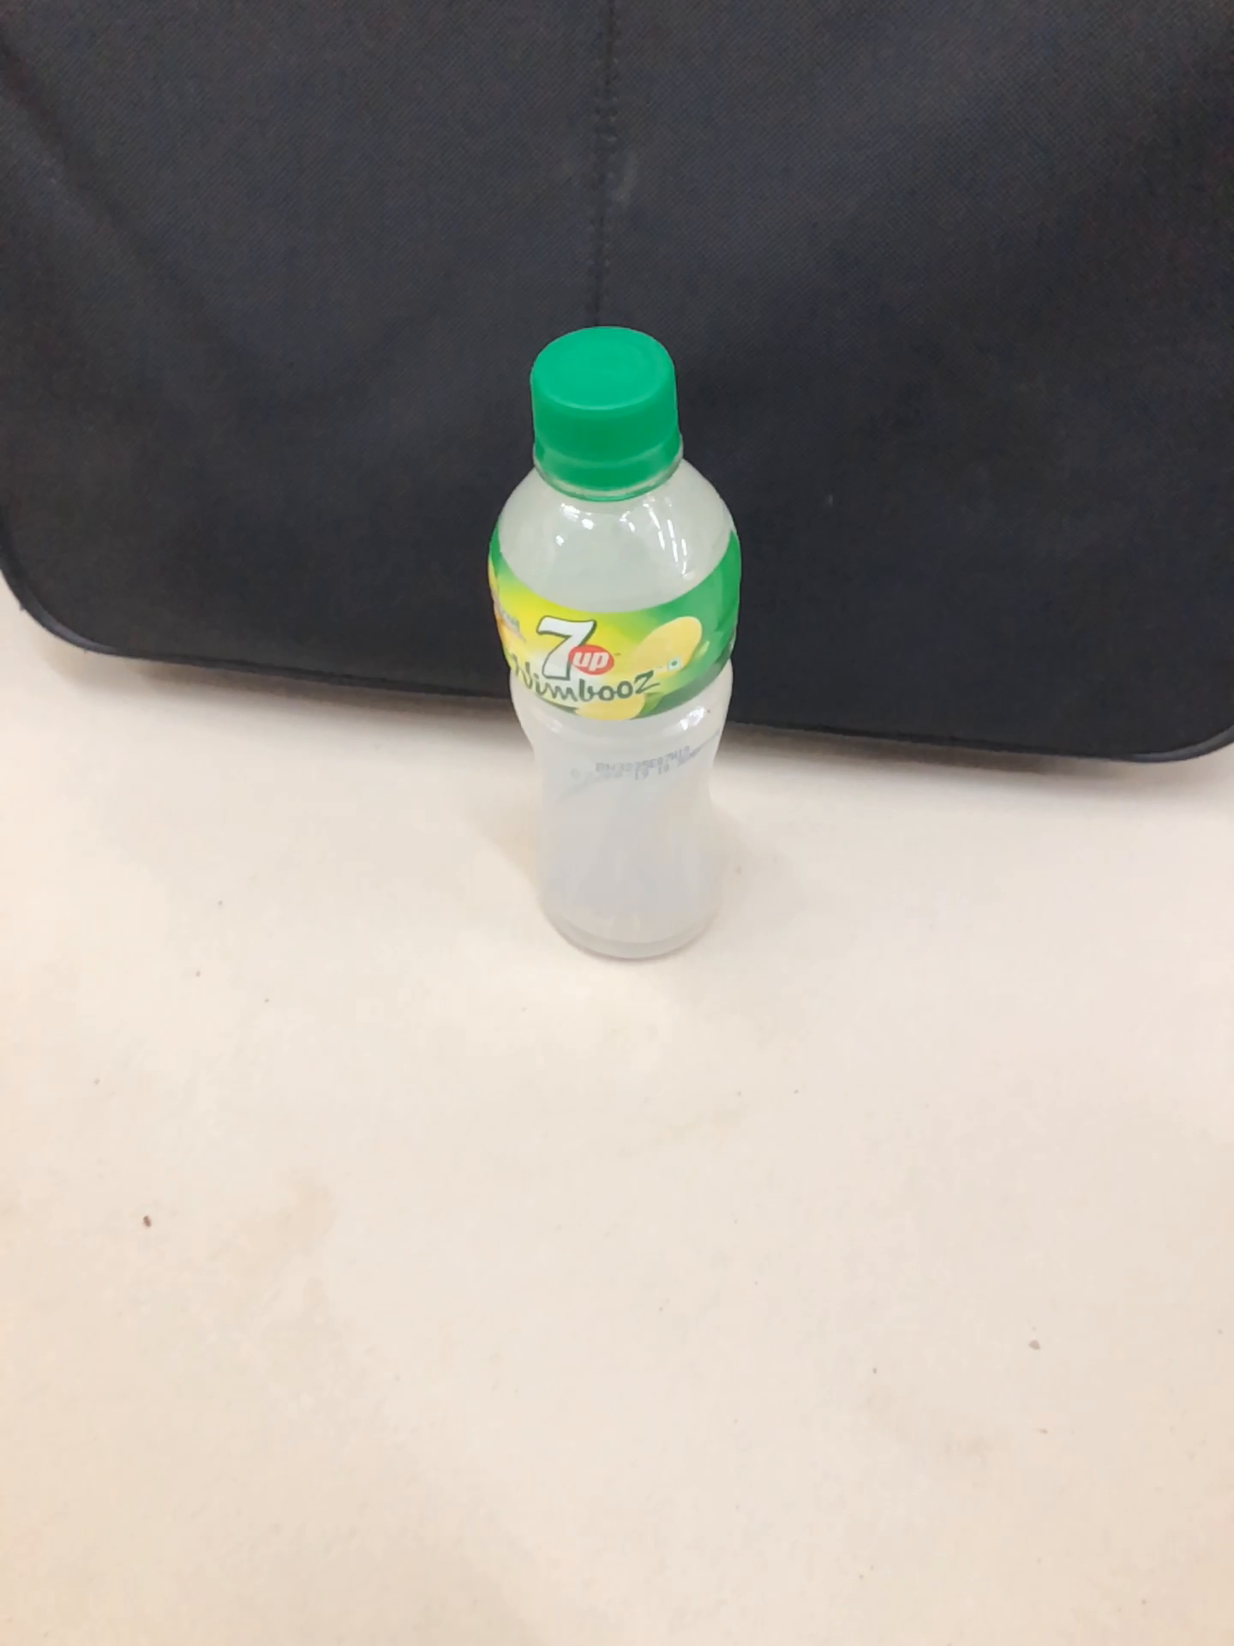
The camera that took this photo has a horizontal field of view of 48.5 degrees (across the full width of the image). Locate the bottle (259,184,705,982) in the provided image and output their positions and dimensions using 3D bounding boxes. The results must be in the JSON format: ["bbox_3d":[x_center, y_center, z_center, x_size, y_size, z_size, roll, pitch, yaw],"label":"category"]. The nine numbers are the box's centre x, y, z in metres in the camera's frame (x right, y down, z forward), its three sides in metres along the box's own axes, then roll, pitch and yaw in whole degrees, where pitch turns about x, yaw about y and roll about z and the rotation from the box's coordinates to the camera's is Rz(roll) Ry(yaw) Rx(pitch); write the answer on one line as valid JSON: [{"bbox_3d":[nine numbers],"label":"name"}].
[{"bbox_3d":[-0.021,-0.044,0.334,0.070,0.189,0.070,-1,53,1],"label":"bottle"}]
